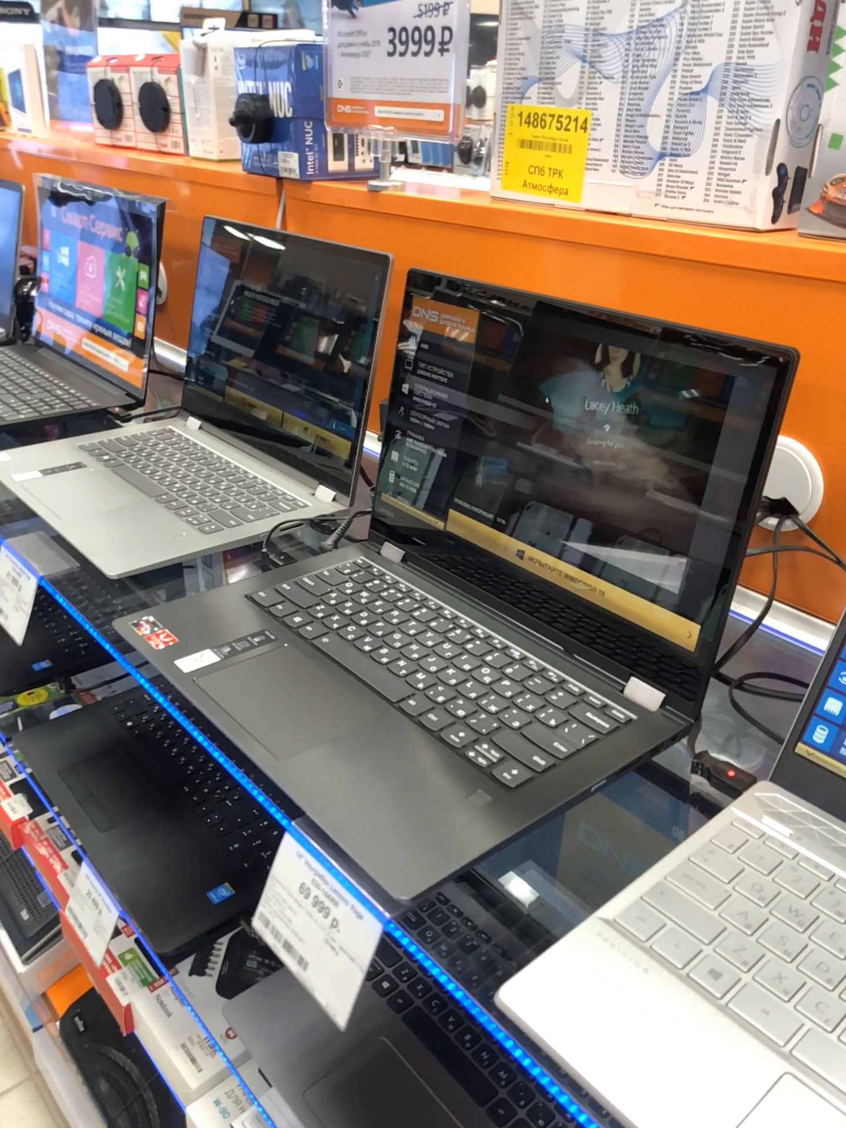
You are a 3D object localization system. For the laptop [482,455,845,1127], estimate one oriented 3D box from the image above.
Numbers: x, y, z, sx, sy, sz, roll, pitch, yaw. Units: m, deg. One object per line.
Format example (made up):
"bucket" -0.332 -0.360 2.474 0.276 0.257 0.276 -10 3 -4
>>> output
"laptop" 0.249 0.115 0.325 0.310 0.161 0.316 -21 33 -34

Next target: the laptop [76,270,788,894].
"laptop" -0.011 -0.035 0.569 0.255 0.215 0.320 -19 33 -35

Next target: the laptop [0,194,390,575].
"laptop" -0.229 -0.192 0.852 0.286 0.202 0.285 -24 39 -37
